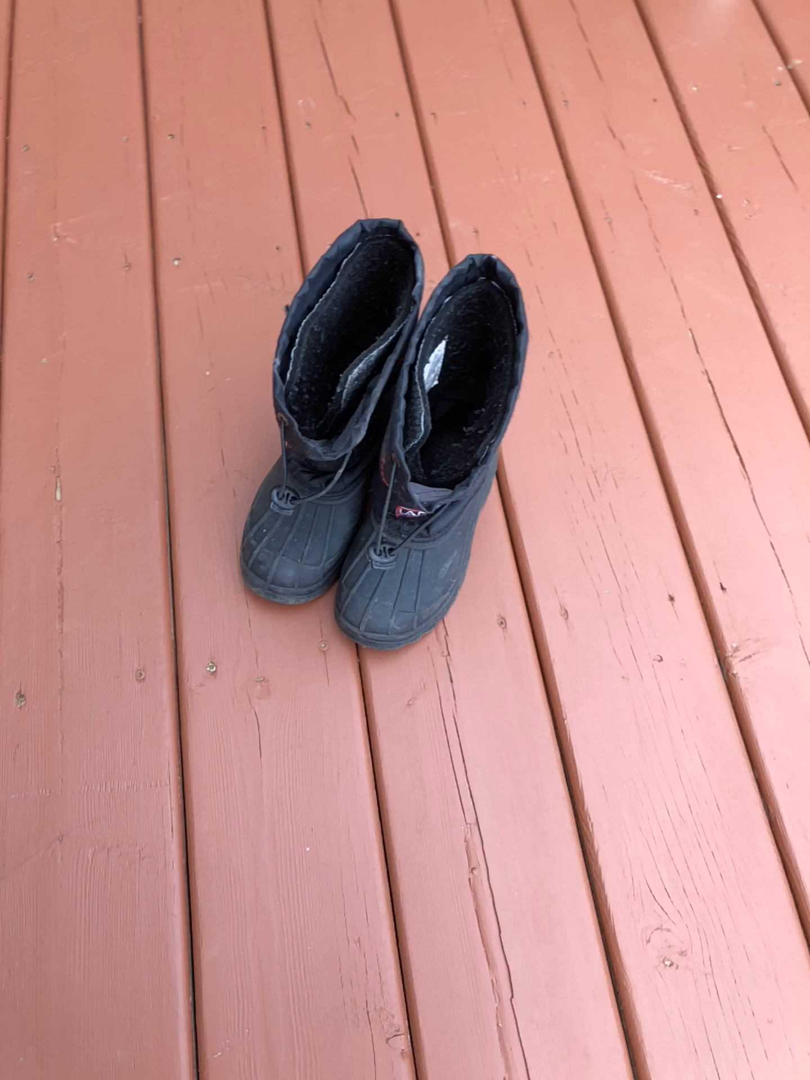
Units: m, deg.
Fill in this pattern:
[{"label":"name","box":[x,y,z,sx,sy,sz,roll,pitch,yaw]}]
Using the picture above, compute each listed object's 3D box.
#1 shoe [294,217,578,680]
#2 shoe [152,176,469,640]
[{"label":"shoe","box":[0.020,-0.048,0.613,0.100,0.230,0.210,19,66,7]},{"label":"shoe","box":[-0.052,-0.078,0.622,0.100,0.230,0.210,23,67,8]}]
